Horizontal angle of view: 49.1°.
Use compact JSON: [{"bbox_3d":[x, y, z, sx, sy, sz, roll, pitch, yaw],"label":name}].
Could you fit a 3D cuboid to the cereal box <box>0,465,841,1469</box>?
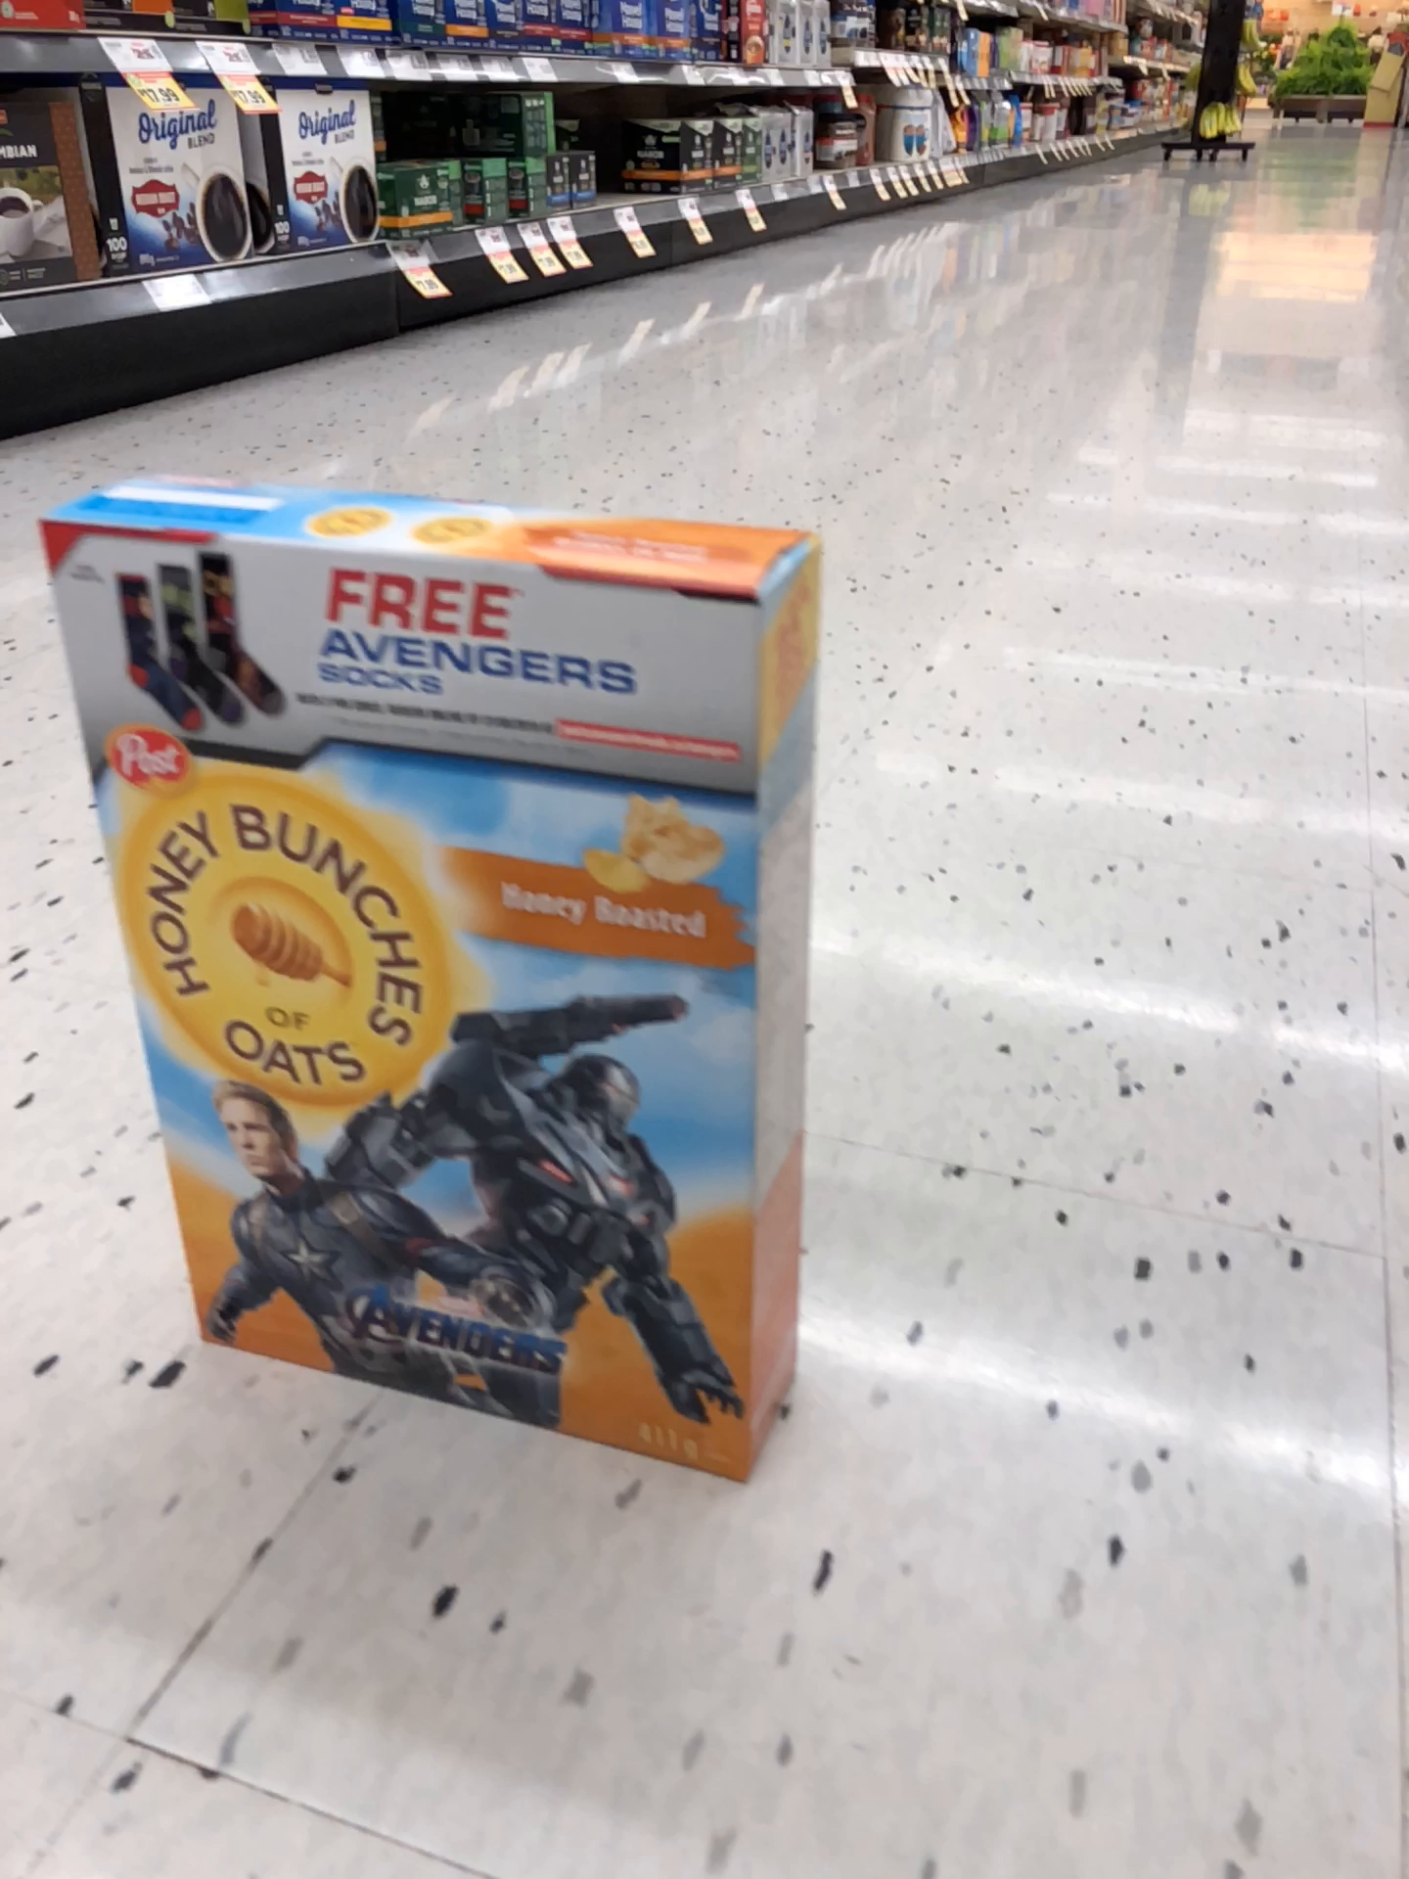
[{"bbox_3d":[-0.072,0.011,0.437,0.200,0.258,0.060,9,29,15],"label":"cereal box"}]
